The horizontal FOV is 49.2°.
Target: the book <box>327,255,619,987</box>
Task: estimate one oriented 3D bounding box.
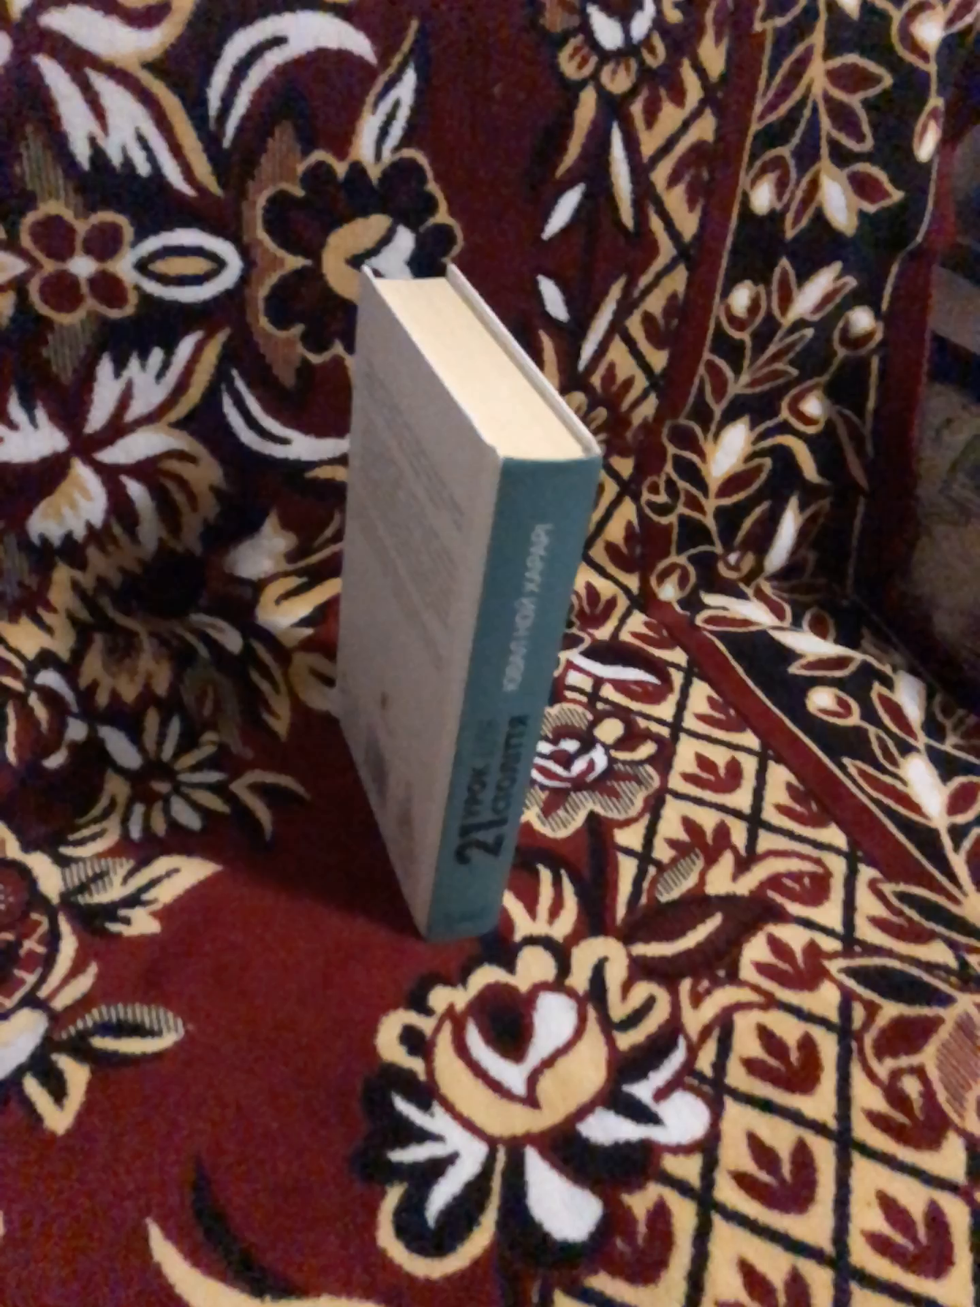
[{"bbox_3d":[-0.022,-0.012,0.388,0.040,0.211,0.154,-6,39,-18],"label":"book"}]
